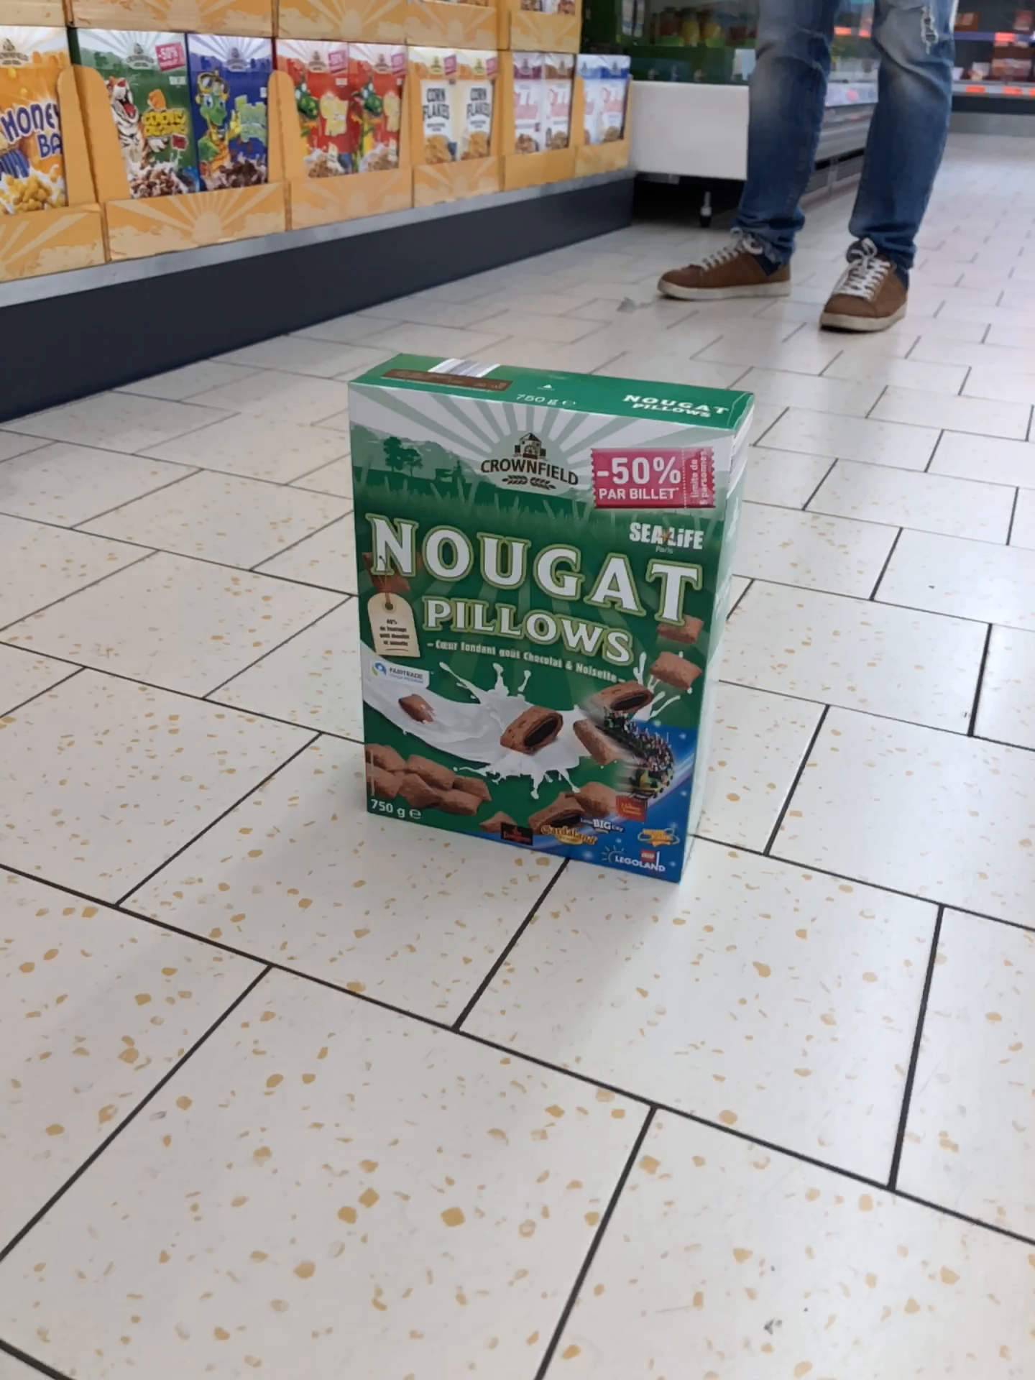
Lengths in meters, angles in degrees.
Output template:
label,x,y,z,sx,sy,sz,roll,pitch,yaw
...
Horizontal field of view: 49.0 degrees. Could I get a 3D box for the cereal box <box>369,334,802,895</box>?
label,x,y,z,sx,sy,sz,roll,pitch,yaw
cereal box,0.029,-0.039,0.617,0.200,0.268,0.070,10,29,15
